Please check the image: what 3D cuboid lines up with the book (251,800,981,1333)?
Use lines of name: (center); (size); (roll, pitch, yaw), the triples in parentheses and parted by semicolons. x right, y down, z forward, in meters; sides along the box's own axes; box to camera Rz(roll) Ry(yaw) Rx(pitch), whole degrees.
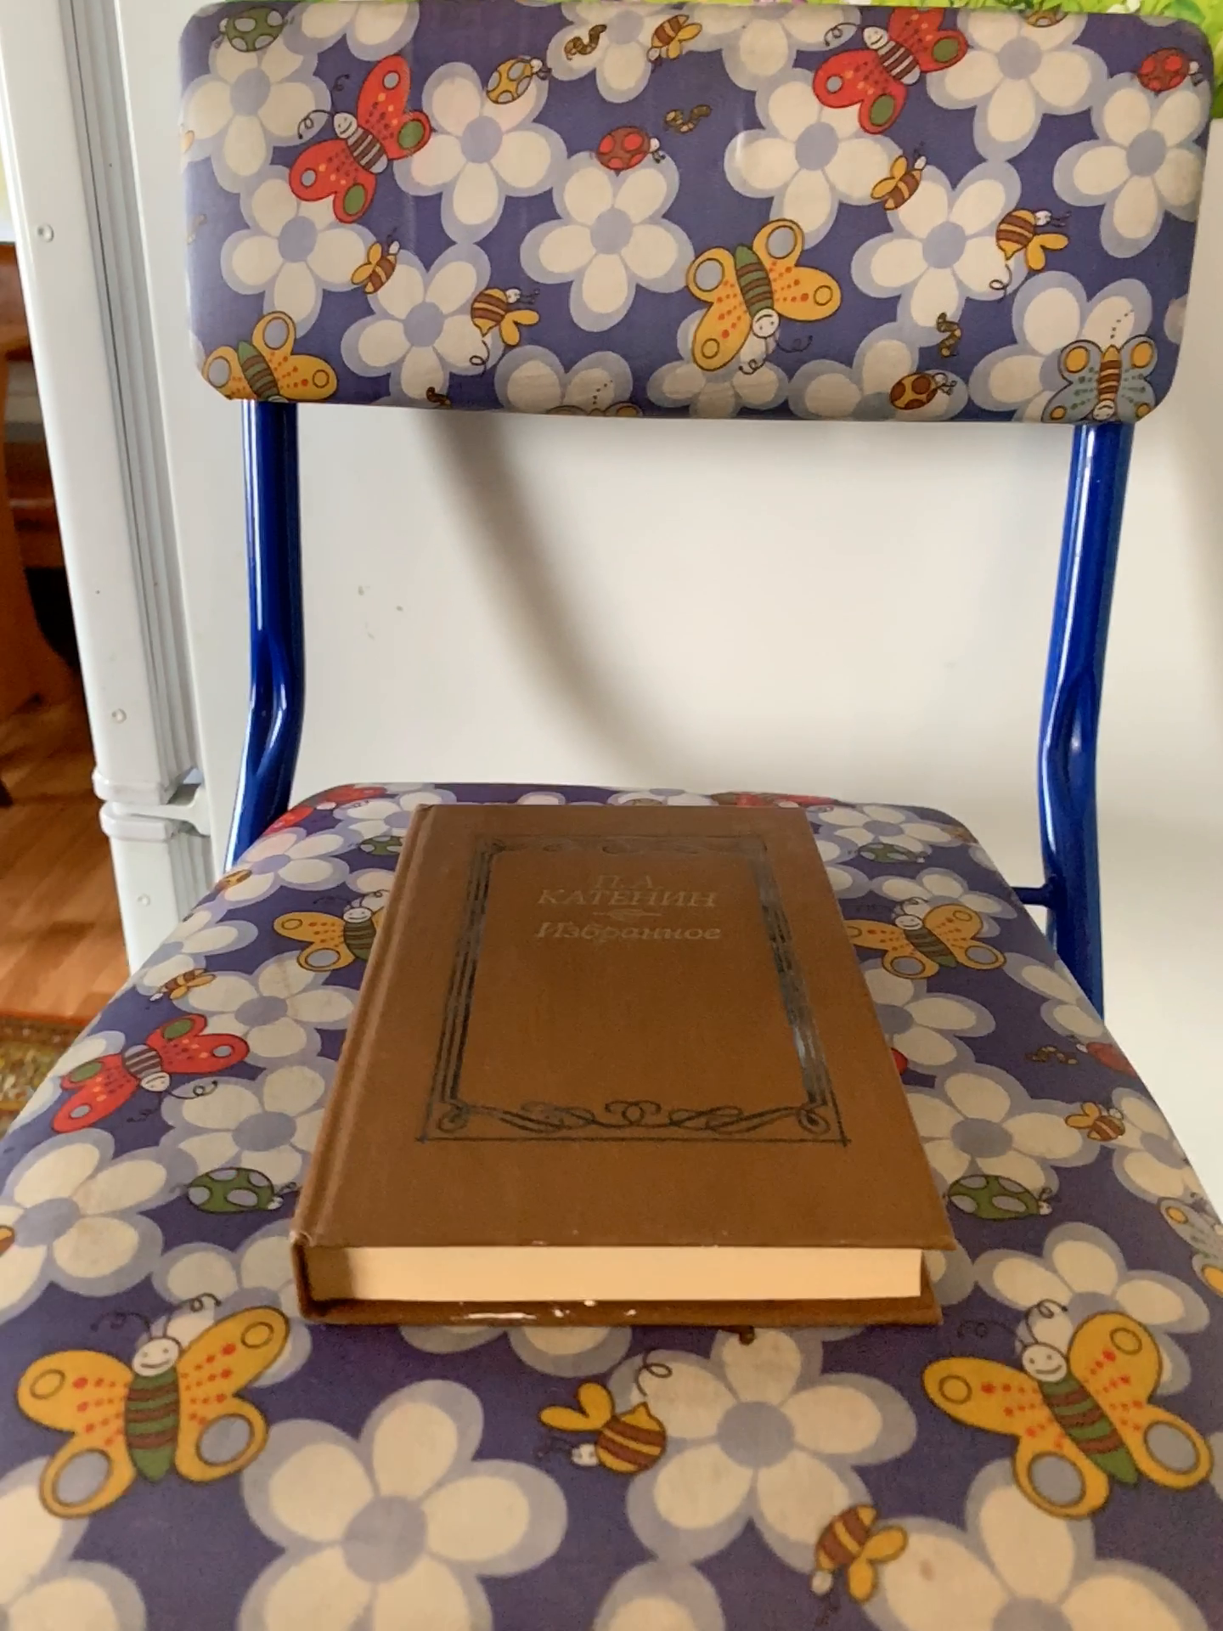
book: (-0.001, 0.043, 0.295); (0.124, 0.020, 0.171); (0, 27, -2)
